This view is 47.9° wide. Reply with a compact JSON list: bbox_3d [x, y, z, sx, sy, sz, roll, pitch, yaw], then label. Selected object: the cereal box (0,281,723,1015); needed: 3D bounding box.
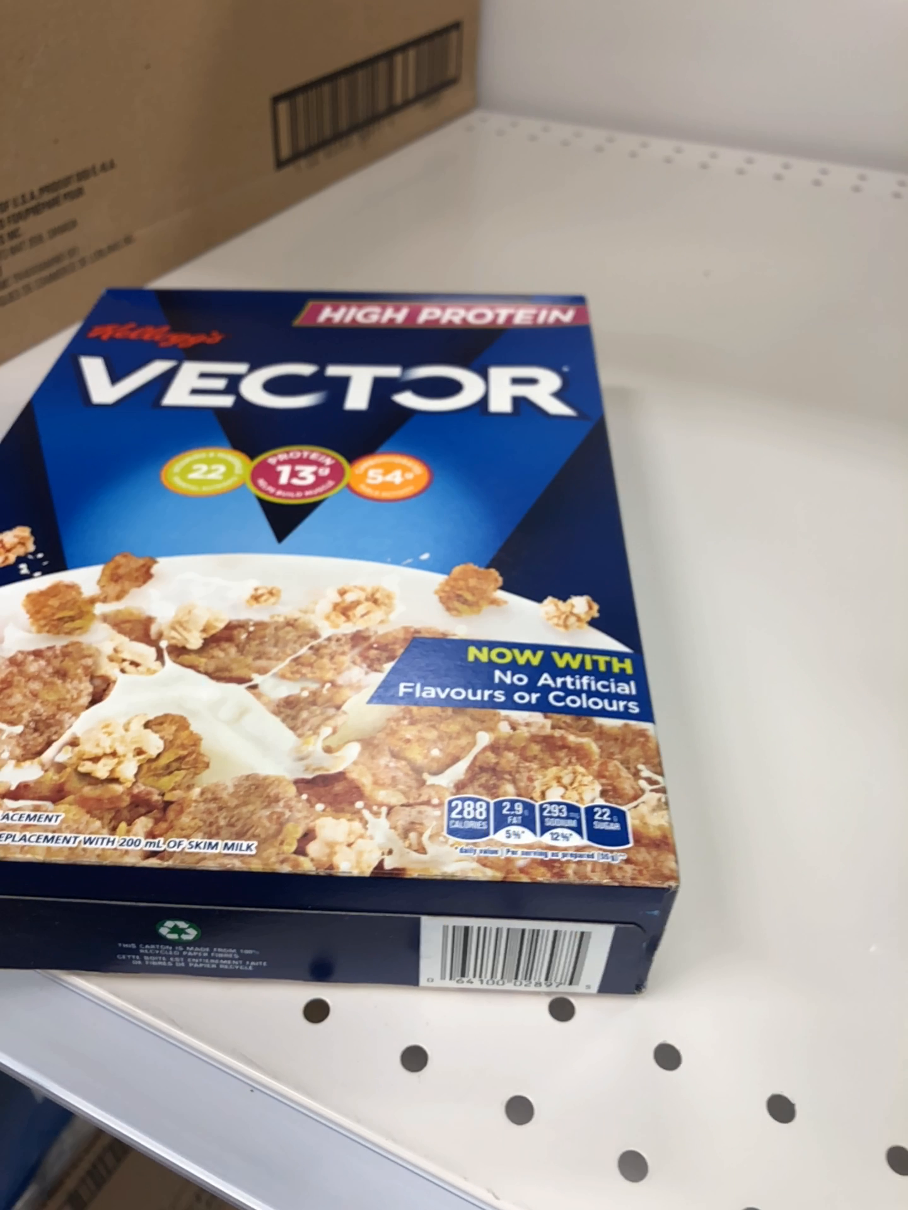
[{"bbox_3d":[-0.050,-0.021,0.330,0.210,0.050,0.291,2,39,0],"label":"cereal box"}]
